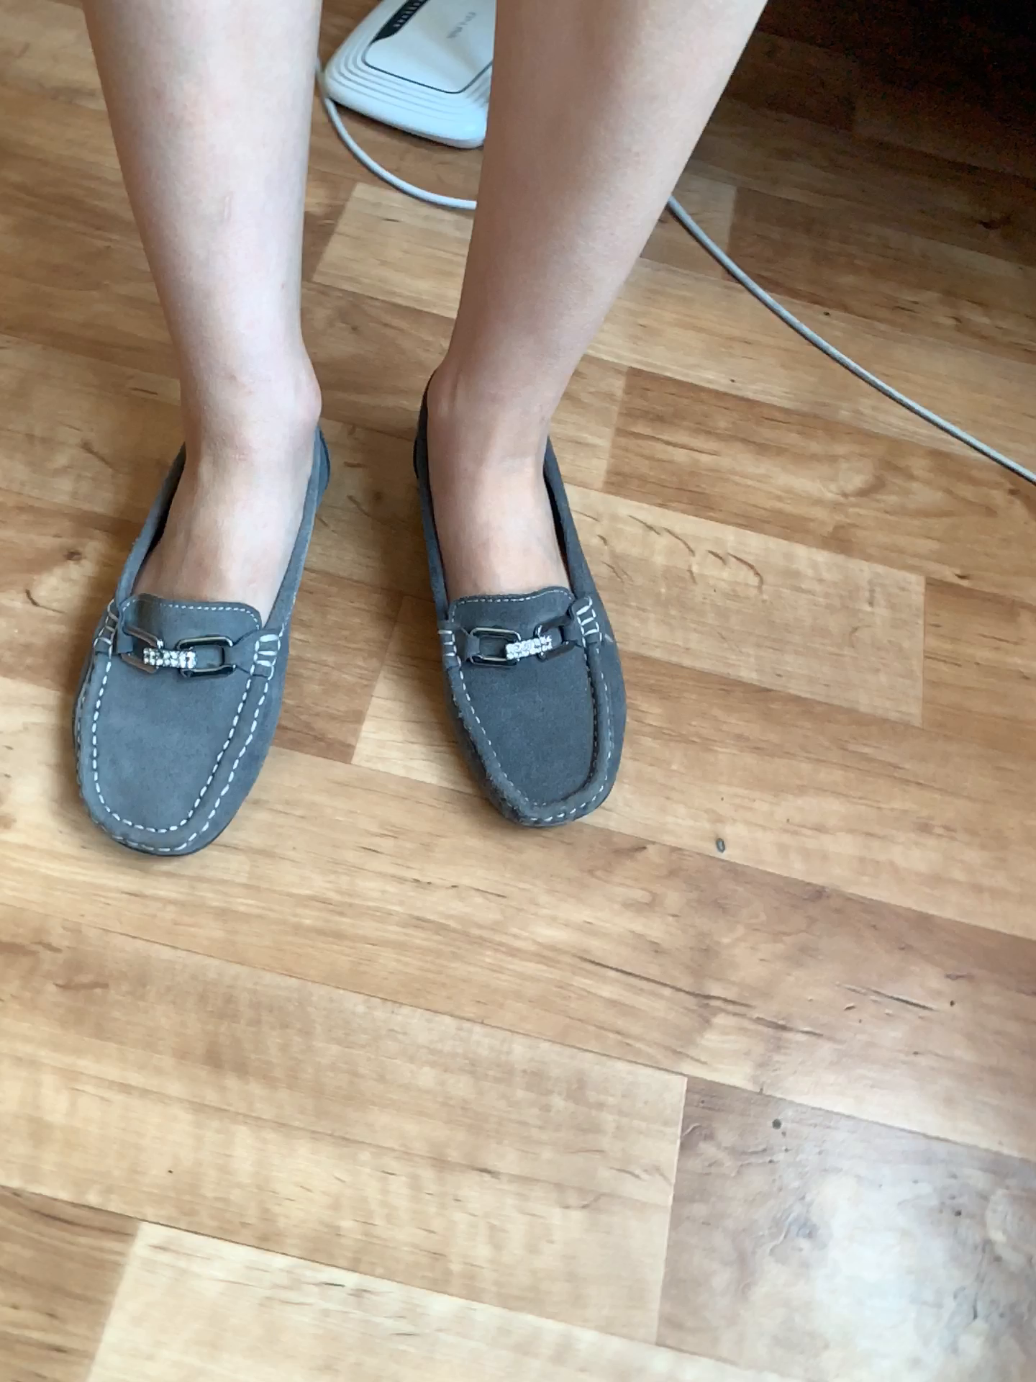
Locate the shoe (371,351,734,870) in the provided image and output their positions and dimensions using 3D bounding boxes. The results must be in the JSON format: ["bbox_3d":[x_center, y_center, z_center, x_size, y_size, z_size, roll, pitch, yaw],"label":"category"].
[{"bbox_3d":[0.006,-0.048,0.505,0.100,0.060,0.240,-10,64,-15],"label":"shoe"}]

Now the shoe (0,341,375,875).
[{"bbox_3d":[-0.138,-0.047,0.488,0.090,0.060,0.240,11,60,0],"label":"shoe"}]
